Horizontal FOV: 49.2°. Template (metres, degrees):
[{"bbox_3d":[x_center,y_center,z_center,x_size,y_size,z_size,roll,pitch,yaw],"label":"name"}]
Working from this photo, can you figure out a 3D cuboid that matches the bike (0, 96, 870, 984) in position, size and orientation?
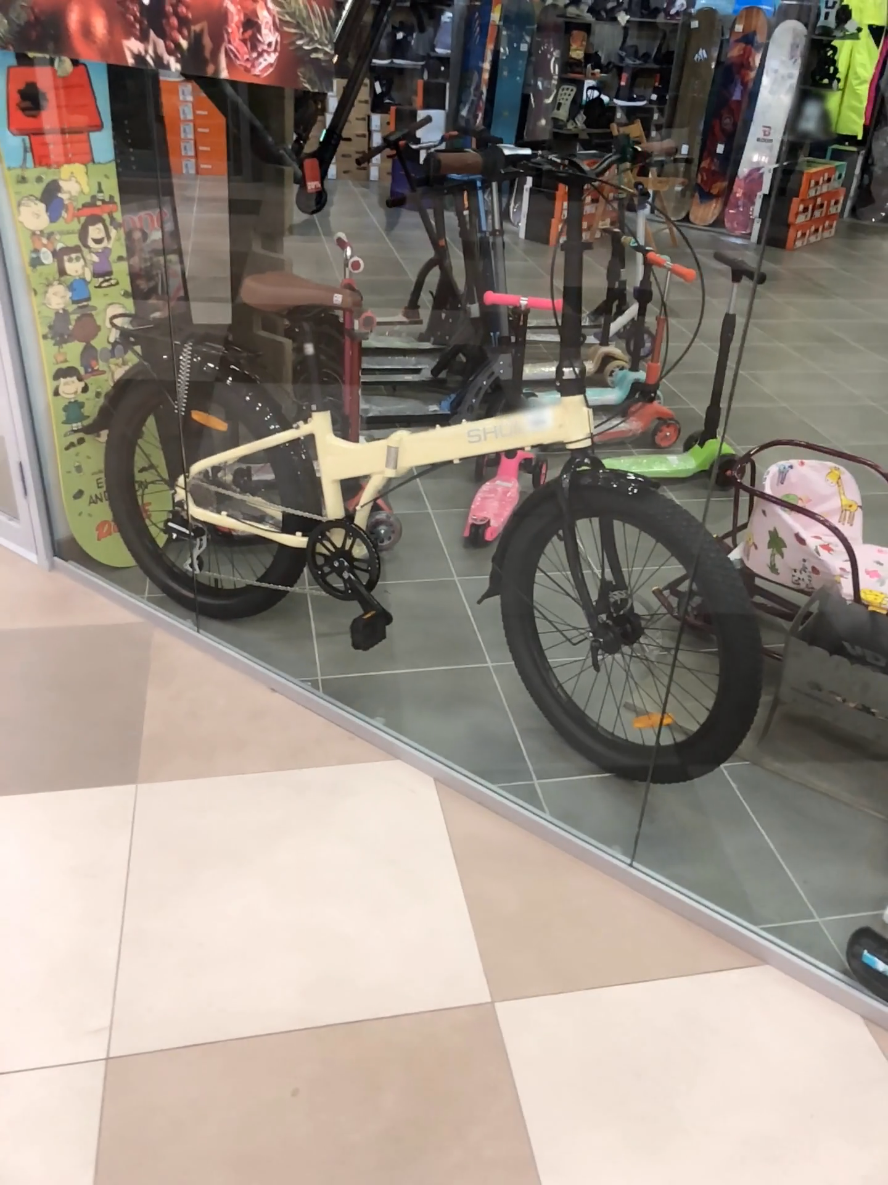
[{"bbox_3d":[-0.164,-0.266,1.984,1.705,1.174,0.595,21,33,26],"label":"bike"}]
